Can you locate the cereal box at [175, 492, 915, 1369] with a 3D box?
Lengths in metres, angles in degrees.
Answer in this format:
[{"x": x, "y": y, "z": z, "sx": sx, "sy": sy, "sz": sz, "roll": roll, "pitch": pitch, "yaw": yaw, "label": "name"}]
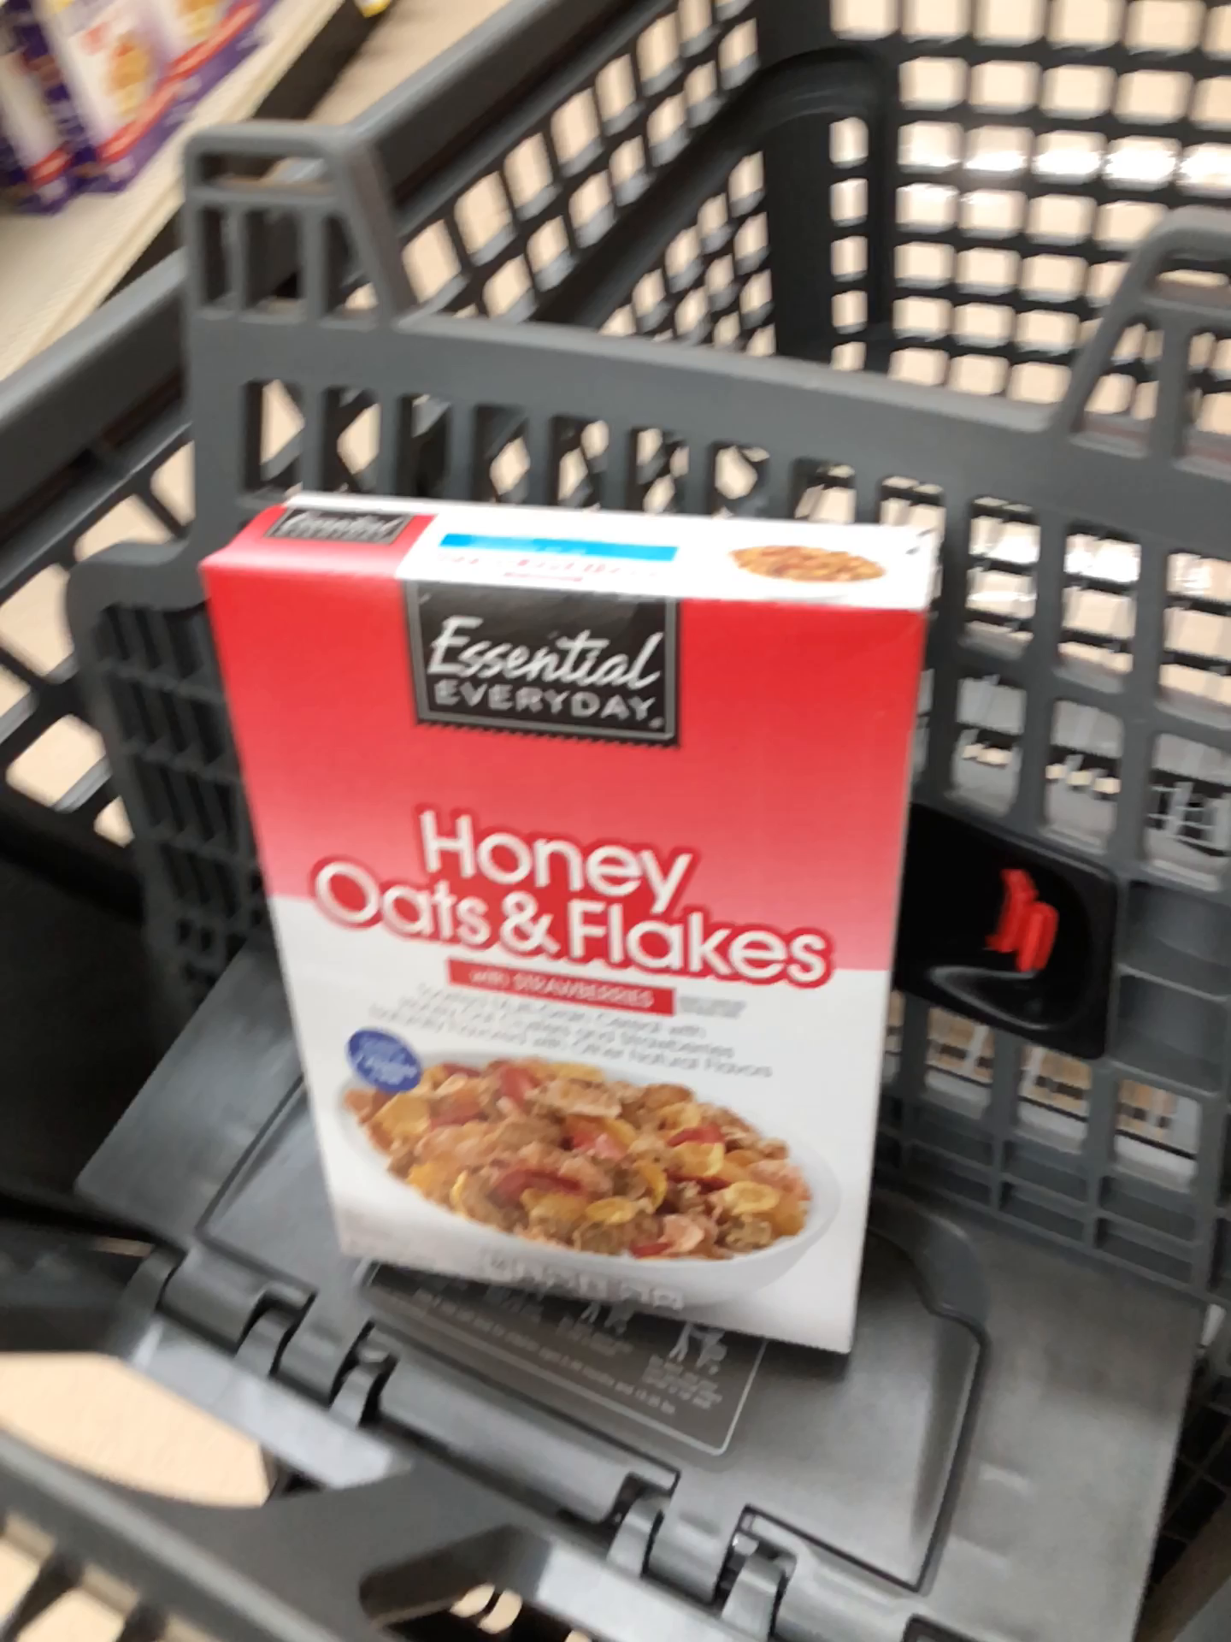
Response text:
[{"x": -0.012, "y": 0.040, "z": 0.411, "sx": 0.180, "sy": 0.260, "sz": 0.060, "roll": 6, "pitch": 31, "yaw": 13, "label": "cereal box"}]
